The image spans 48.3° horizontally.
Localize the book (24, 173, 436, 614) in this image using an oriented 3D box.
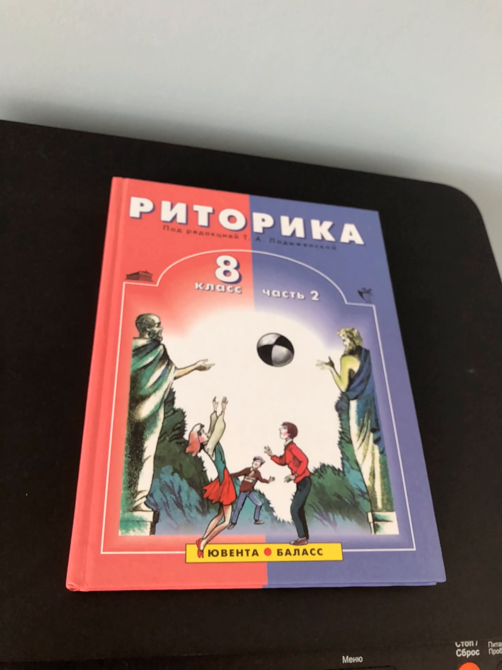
[{"bbox_3d":[-0.008,0.017,0.288,0.170,0.020,0.221,5,61,-12],"label":"book"}]
